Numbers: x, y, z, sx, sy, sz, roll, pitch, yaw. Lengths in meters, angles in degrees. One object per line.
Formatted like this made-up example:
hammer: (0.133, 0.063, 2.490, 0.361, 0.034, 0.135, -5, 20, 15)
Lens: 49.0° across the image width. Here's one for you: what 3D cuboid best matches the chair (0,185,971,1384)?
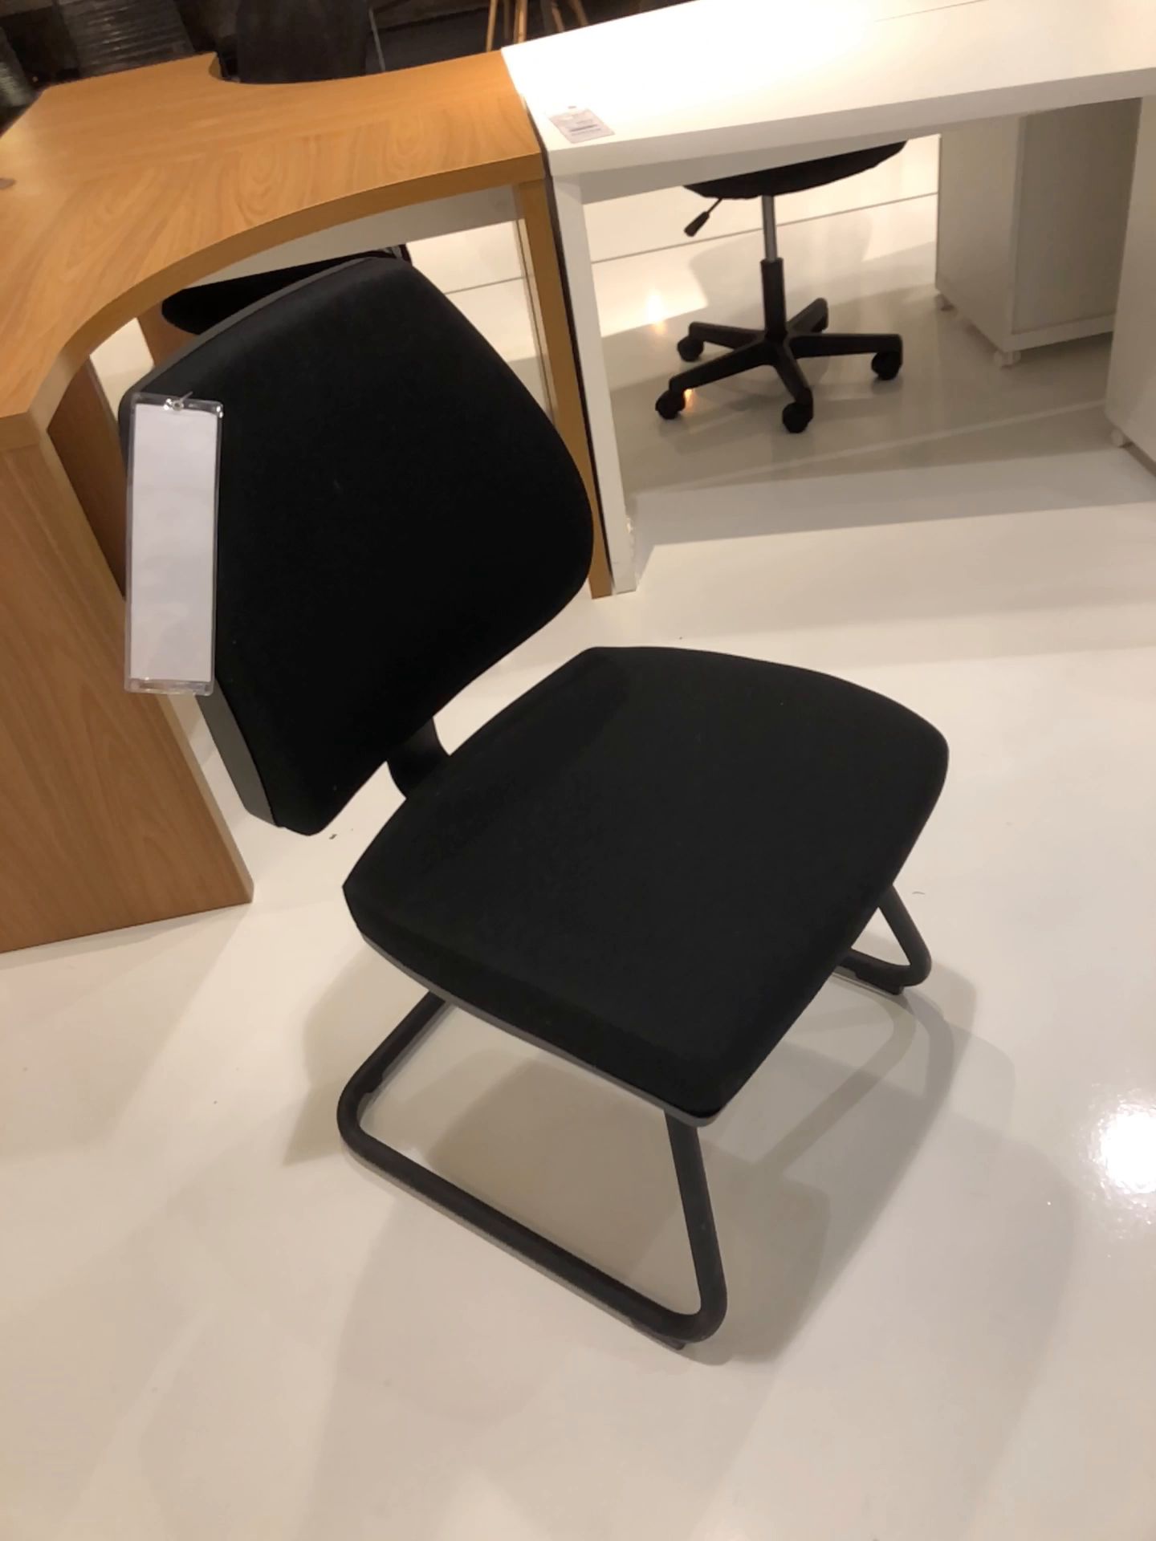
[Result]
chair: (-0.019, -0.002, 1.209, 0.561, 0.874, 0.553, 17, 47, 31)
